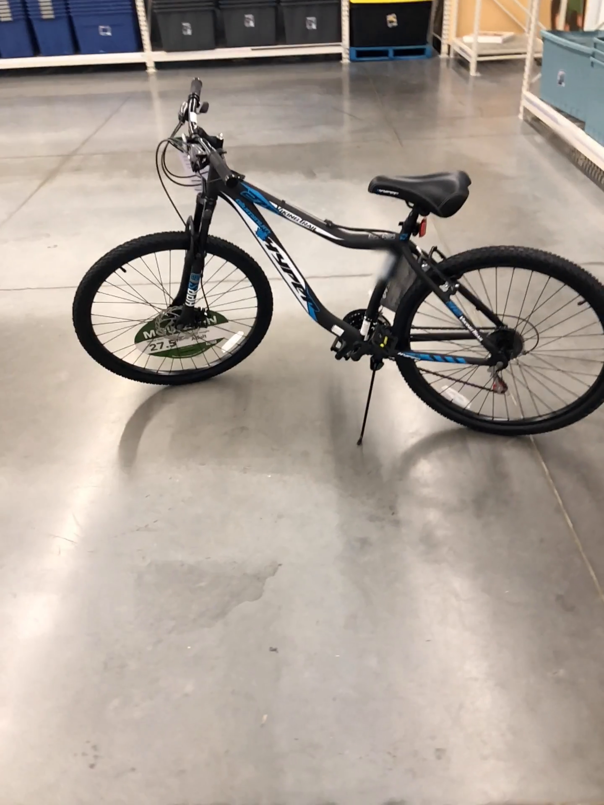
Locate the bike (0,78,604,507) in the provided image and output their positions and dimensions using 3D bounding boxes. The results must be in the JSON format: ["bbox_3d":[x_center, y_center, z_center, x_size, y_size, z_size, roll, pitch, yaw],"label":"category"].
[{"bbox_3d":[0.070,-0.334,1.946,1.633,0.986,0.575,4,36,13],"label":"bike"}]
